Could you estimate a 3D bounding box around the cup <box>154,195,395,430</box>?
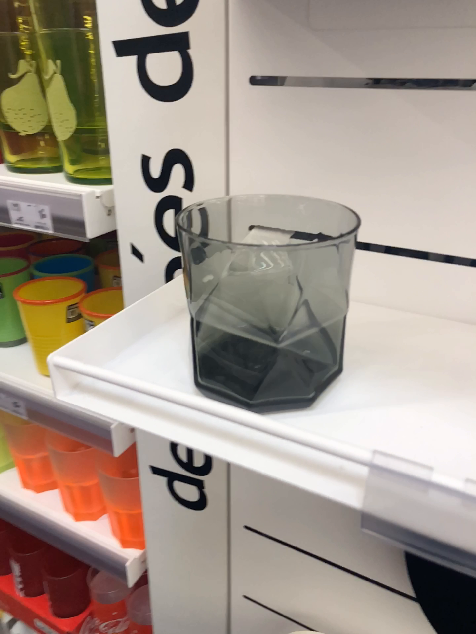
[{"bbox_3d":[0.018,-0.008,0.260,0.093,0.080,0.089,1,26,0],"label":"cup"}]
